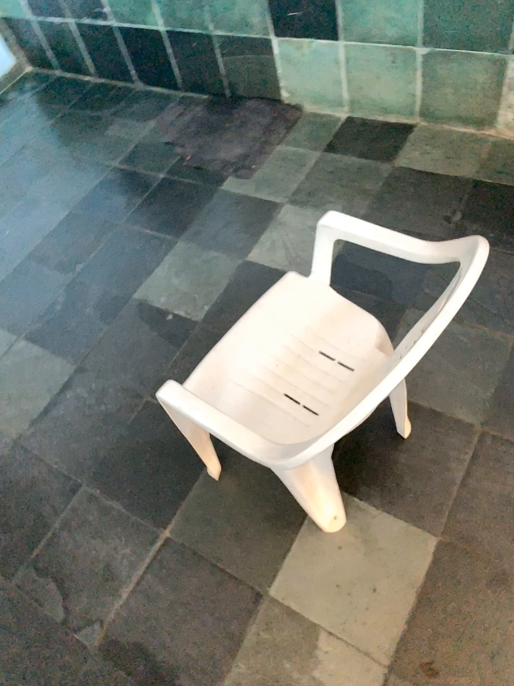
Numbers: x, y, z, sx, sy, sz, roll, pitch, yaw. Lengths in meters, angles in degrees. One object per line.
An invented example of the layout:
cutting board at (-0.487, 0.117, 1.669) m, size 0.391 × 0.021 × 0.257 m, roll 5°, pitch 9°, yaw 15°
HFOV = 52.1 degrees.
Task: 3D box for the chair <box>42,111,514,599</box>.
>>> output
chair at (0.107, 0.046, 1.112) m, size 0.592 × 0.717 × 0.541 m, roll 27°, pitch 66°, yaw 29°
